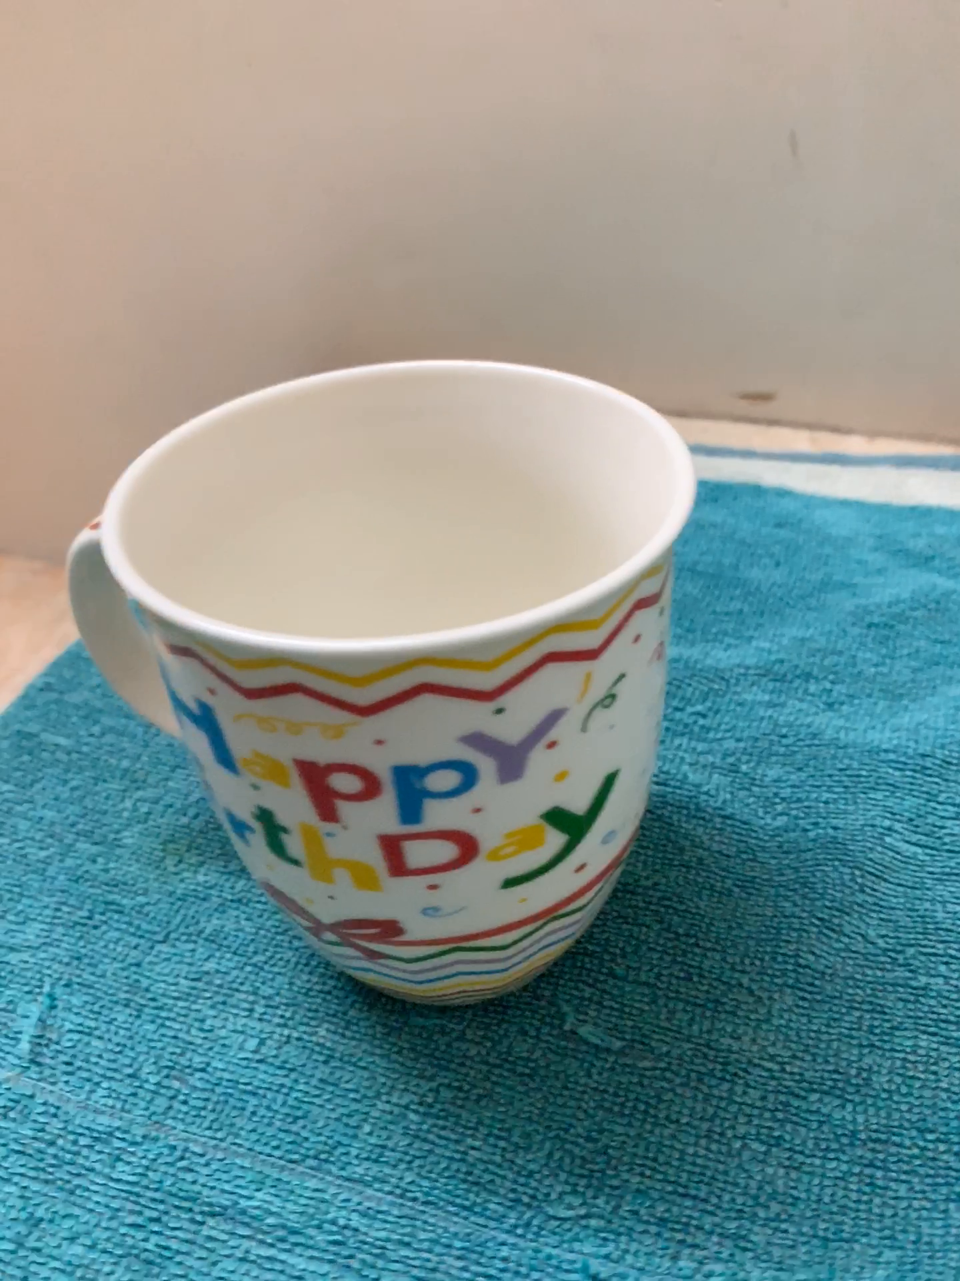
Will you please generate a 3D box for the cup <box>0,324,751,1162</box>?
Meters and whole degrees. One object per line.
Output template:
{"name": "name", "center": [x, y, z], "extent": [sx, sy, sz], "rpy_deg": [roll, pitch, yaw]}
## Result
{"name": "cup", "center": [-0.027, 0.009, 0.196], "extent": [0.130, 0.099, 0.091], "rpy_deg": [12, 39, 21]}
